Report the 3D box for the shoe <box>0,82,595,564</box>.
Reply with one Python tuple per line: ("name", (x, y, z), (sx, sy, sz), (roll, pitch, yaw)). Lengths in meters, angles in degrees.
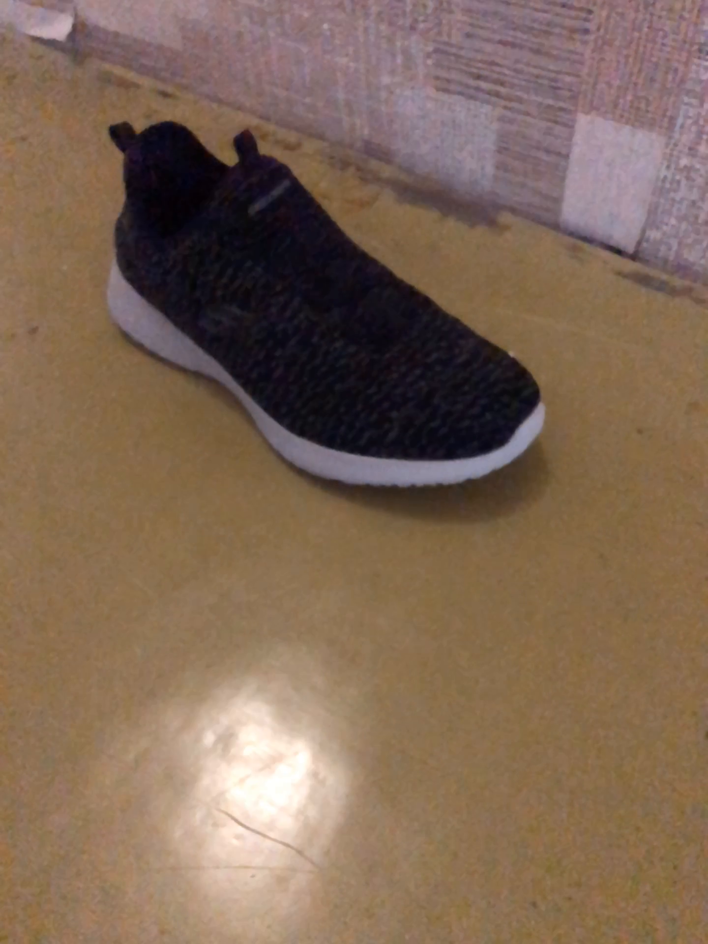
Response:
("shoe", (-0.044, -0.101, 0.472), (0.321, 0.130, 0.120), (29, 59, 22))
